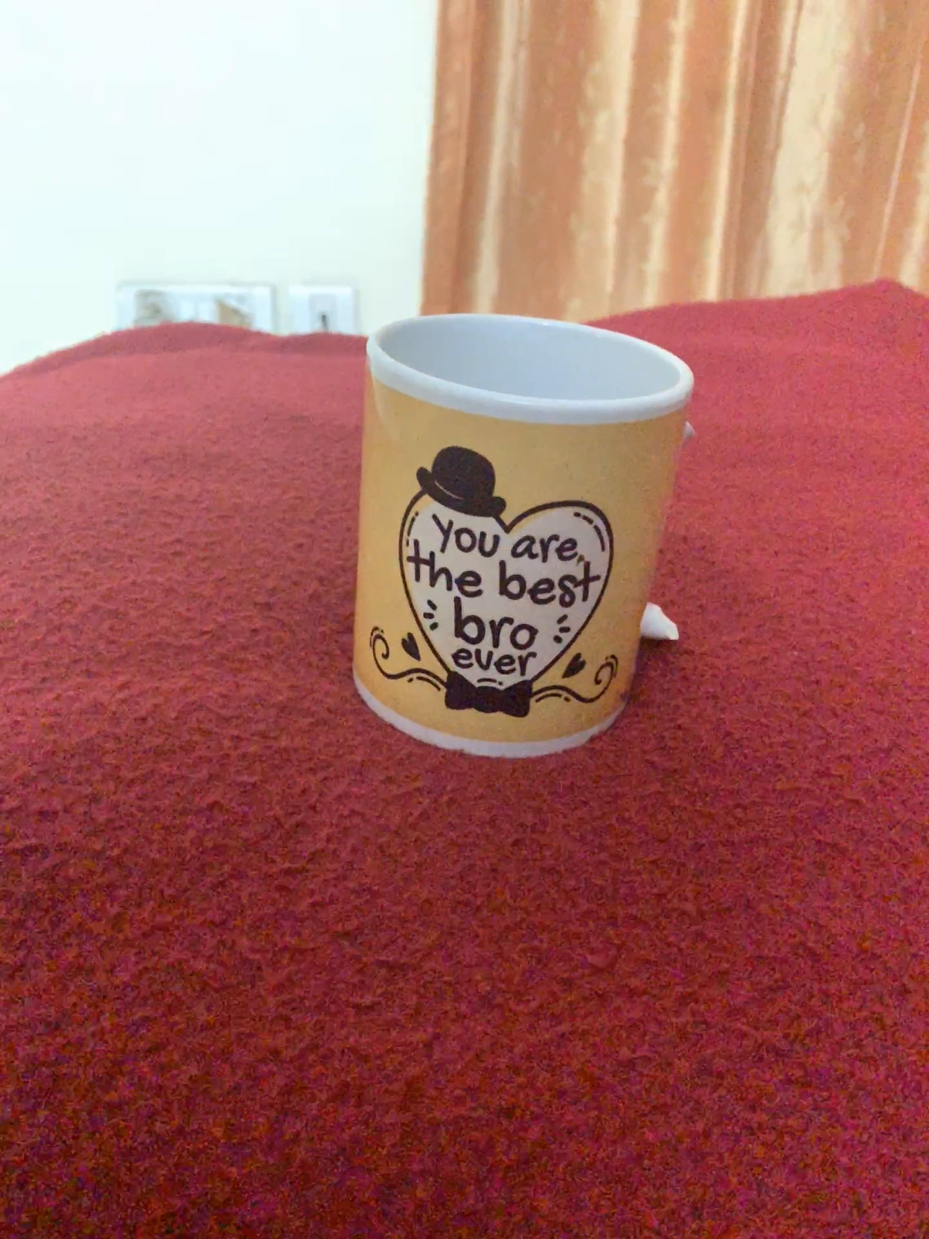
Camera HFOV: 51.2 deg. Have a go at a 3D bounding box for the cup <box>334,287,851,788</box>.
[{"bbox_3d":[0.024,-0.025,0.267,0.110,0.109,0.081,3,25,-3],"label":"cup"}]

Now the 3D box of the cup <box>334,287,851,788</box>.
[{"bbox_3d":[0.024,-0.025,0.267,0.110,0.109,0.081,3,25,-3],"label":"cup"}]
